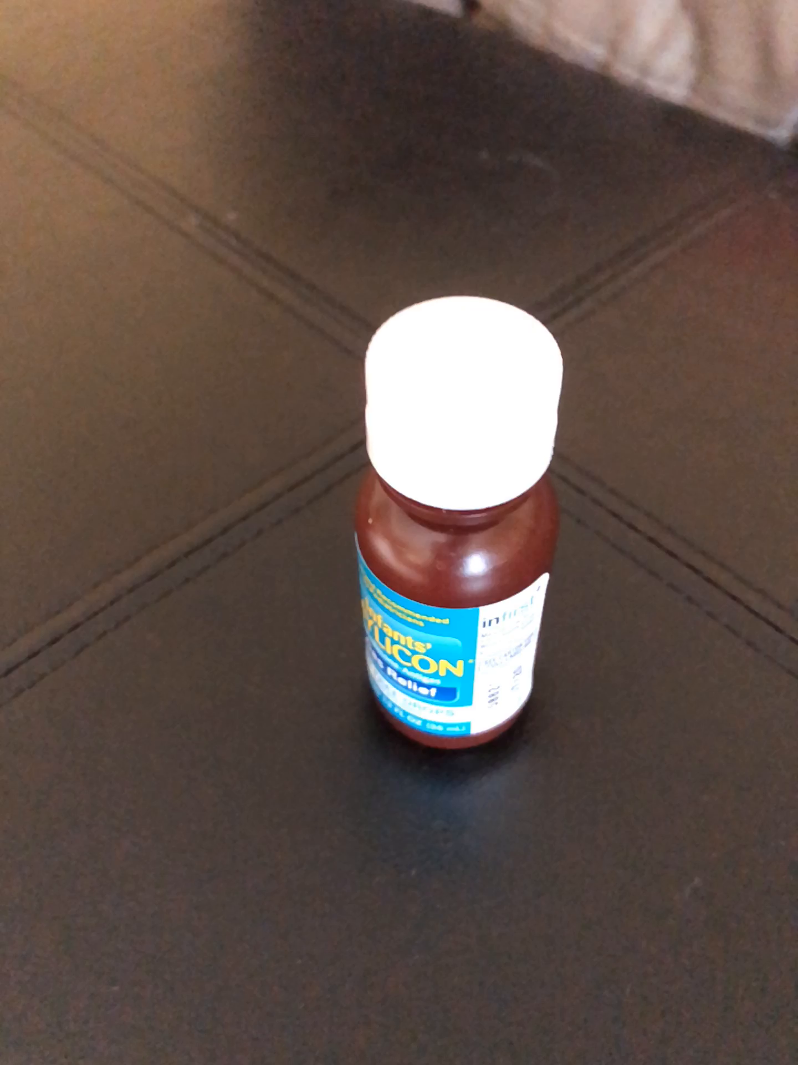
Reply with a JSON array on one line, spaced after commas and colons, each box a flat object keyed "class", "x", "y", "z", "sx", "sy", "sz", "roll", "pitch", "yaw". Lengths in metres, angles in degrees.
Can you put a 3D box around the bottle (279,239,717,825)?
[{"class": "bottle", "x": 0.014, "y": 0.004, "z": 0.147, "sx": 0.040, "sy": 0.080, "sz": 0.040, "roll": -1, "pitch": 50, "yaw": 2}]
